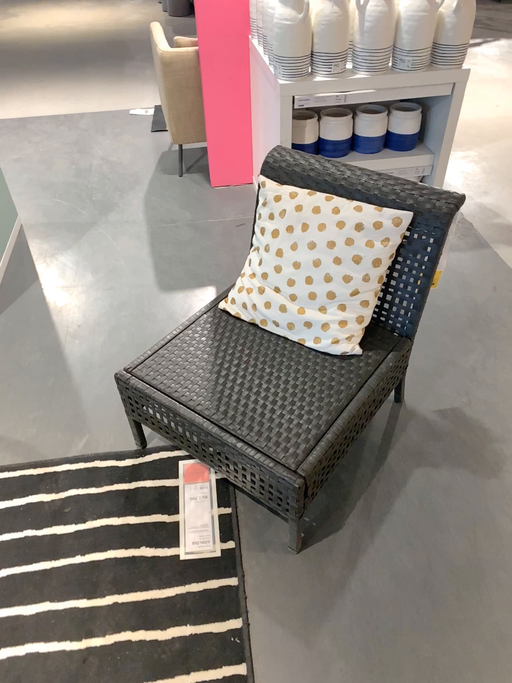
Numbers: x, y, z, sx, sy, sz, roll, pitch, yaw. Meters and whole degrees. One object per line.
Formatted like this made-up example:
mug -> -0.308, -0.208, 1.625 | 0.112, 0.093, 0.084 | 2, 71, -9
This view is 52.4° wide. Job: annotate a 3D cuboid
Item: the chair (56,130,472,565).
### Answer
chair -> 0.057, -0.033, 1.551 | 0.701, 0.797, 0.782 | 26, 49, 28
